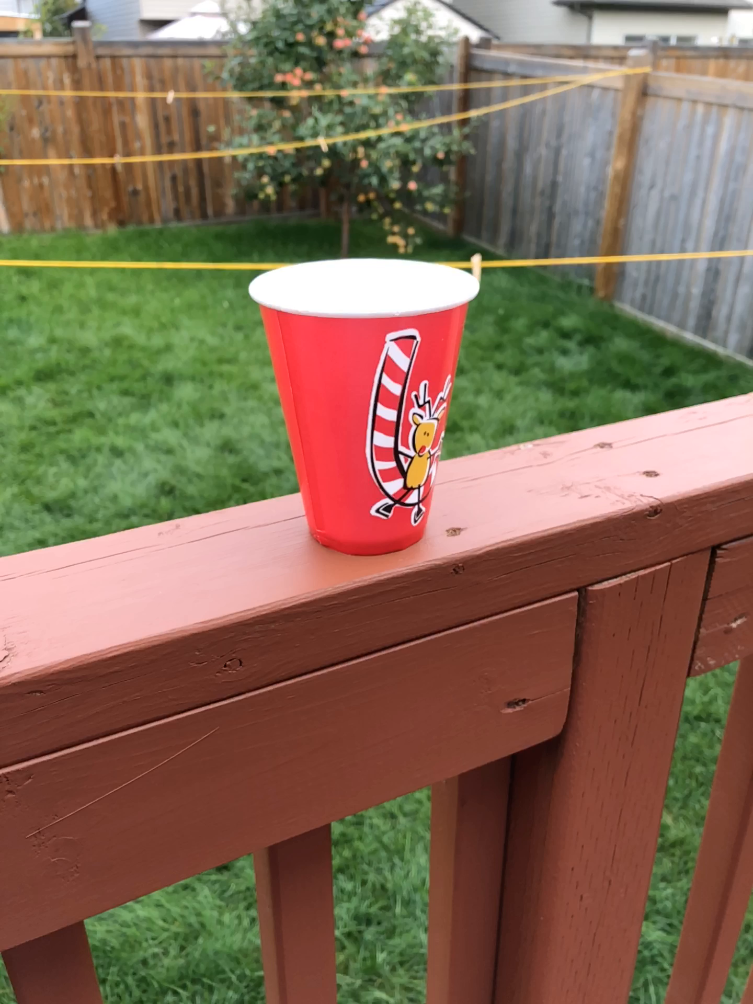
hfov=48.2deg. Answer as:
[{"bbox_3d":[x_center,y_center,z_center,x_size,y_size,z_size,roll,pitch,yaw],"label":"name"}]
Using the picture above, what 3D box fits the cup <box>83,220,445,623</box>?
[{"bbox_3d":[-0.035,-0.034,0.284,0.080,0.100,0.080,0,28,0],"label":"cup"}]
